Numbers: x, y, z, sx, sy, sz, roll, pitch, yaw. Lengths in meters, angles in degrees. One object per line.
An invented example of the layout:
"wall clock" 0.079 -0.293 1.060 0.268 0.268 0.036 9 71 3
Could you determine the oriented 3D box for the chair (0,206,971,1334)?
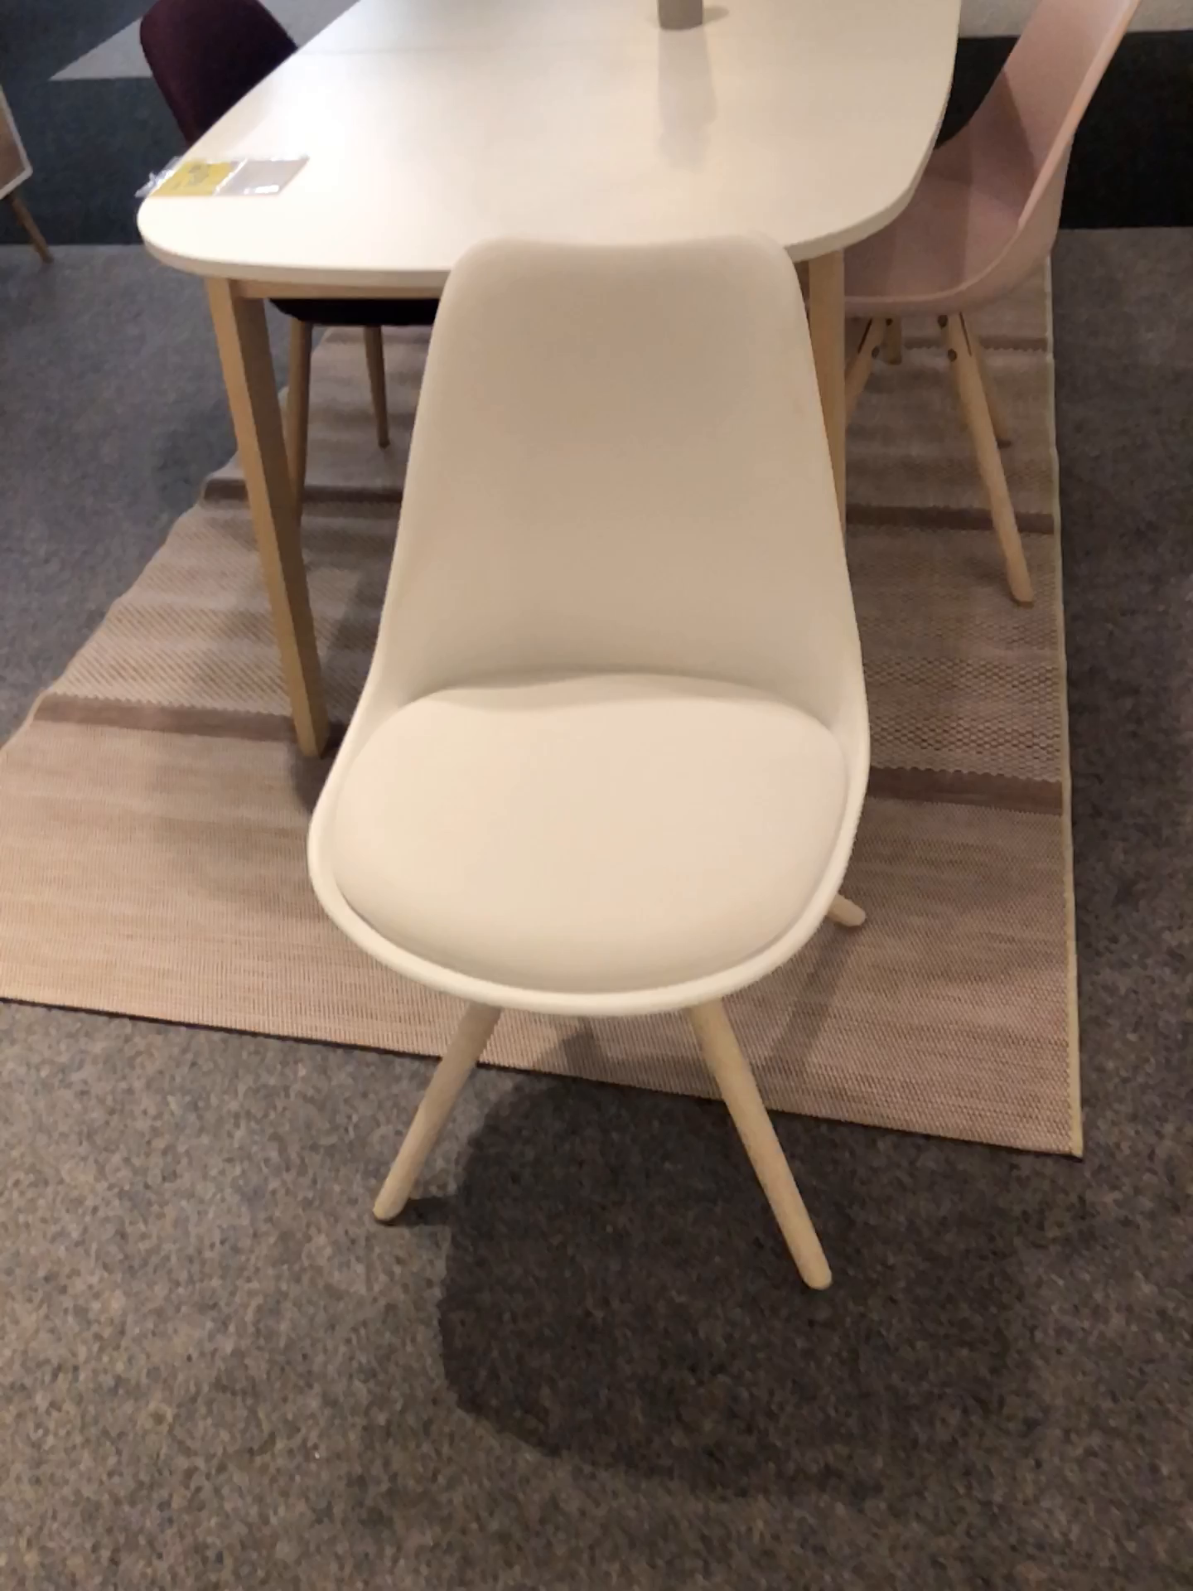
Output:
"chair" 0.006 -0.020 1.169 0.550 0.756 0.594 5 45 13
